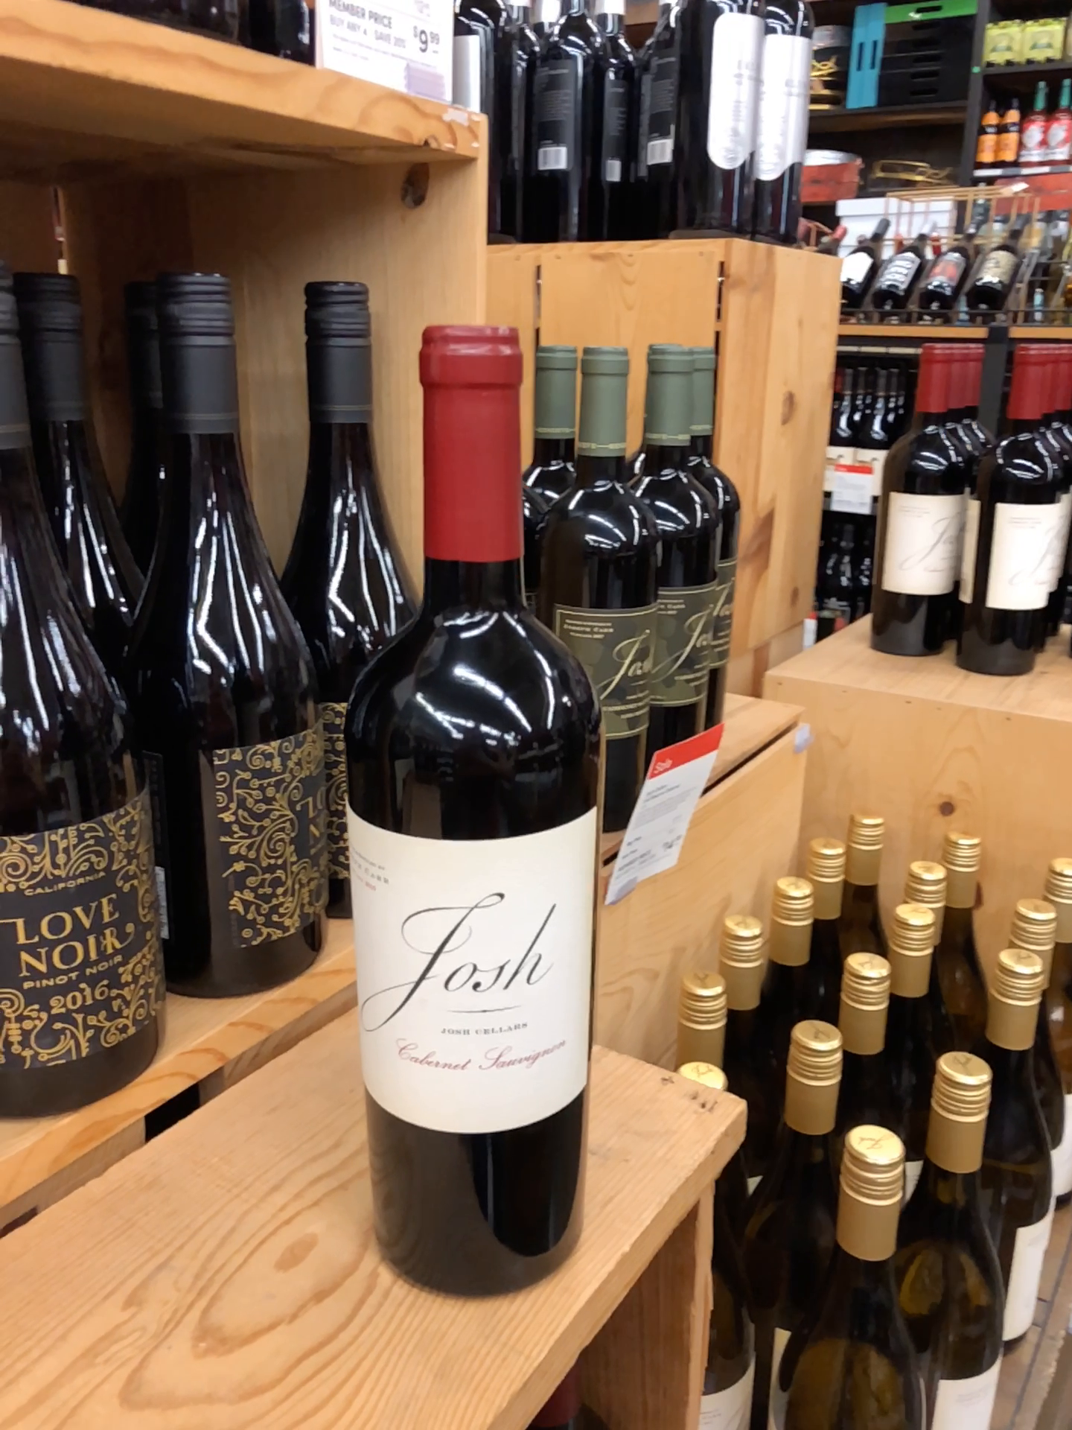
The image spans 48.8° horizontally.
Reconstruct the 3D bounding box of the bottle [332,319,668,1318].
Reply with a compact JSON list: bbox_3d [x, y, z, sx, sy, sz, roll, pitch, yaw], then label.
[{"bbox_3d":[-0.012,0.035,0.363,0.080,0.294,0.081,1,17,0],"label":"bottle"}]
